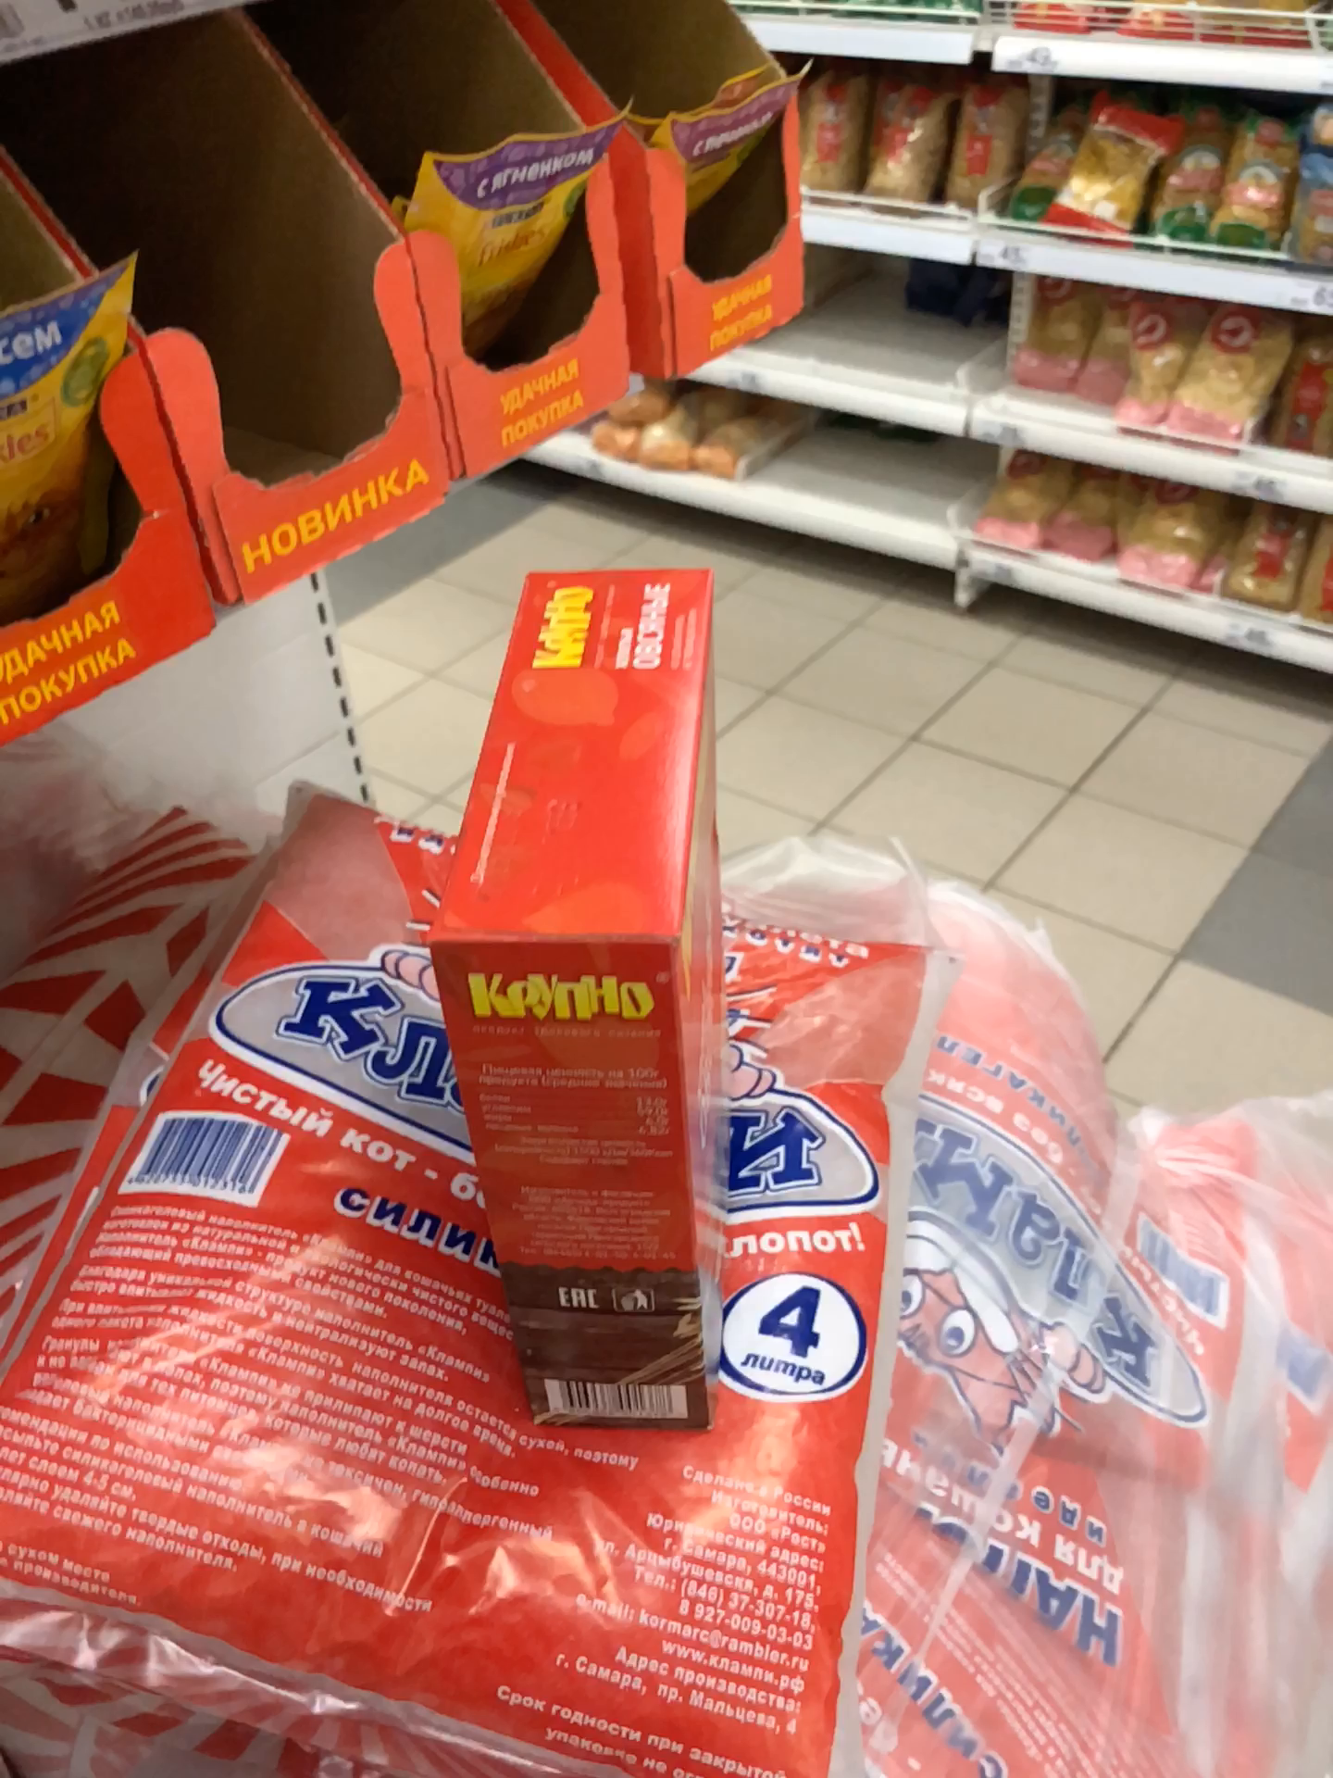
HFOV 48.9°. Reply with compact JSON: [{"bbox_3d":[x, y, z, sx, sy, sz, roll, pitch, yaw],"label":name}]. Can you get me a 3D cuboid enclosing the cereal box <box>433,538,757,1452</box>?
[{"bbox_3d":[-0.006,0.031,0.401,0.060,0.199,0.151,0,40,4],"label":"cereal box"}]
